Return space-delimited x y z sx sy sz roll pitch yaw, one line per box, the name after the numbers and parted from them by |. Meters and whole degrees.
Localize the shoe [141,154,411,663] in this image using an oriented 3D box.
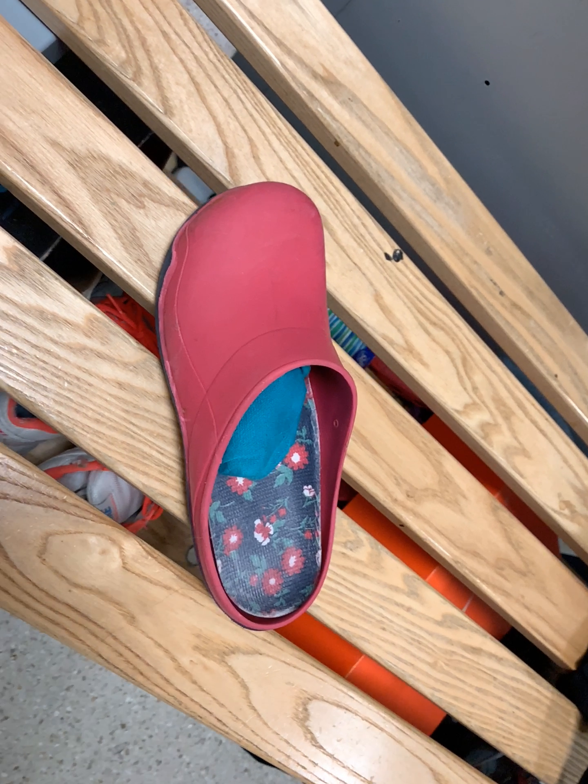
-0.012 0.005 0.341 0.107 0.077 0.238 -6 90 -29 | shoe
